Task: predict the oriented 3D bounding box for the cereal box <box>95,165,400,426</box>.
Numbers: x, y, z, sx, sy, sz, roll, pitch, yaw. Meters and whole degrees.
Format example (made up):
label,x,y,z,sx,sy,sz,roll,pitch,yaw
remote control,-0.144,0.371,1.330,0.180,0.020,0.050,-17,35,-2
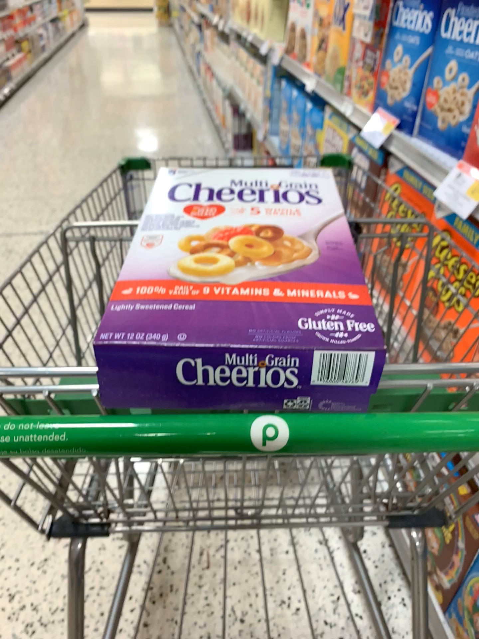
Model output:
label,x,y,z,sx,sy,sz,roll,pitch,yaw
cereal box,0.006,-0.051,0.476,0.200,0.069,0.323,1,38,0
